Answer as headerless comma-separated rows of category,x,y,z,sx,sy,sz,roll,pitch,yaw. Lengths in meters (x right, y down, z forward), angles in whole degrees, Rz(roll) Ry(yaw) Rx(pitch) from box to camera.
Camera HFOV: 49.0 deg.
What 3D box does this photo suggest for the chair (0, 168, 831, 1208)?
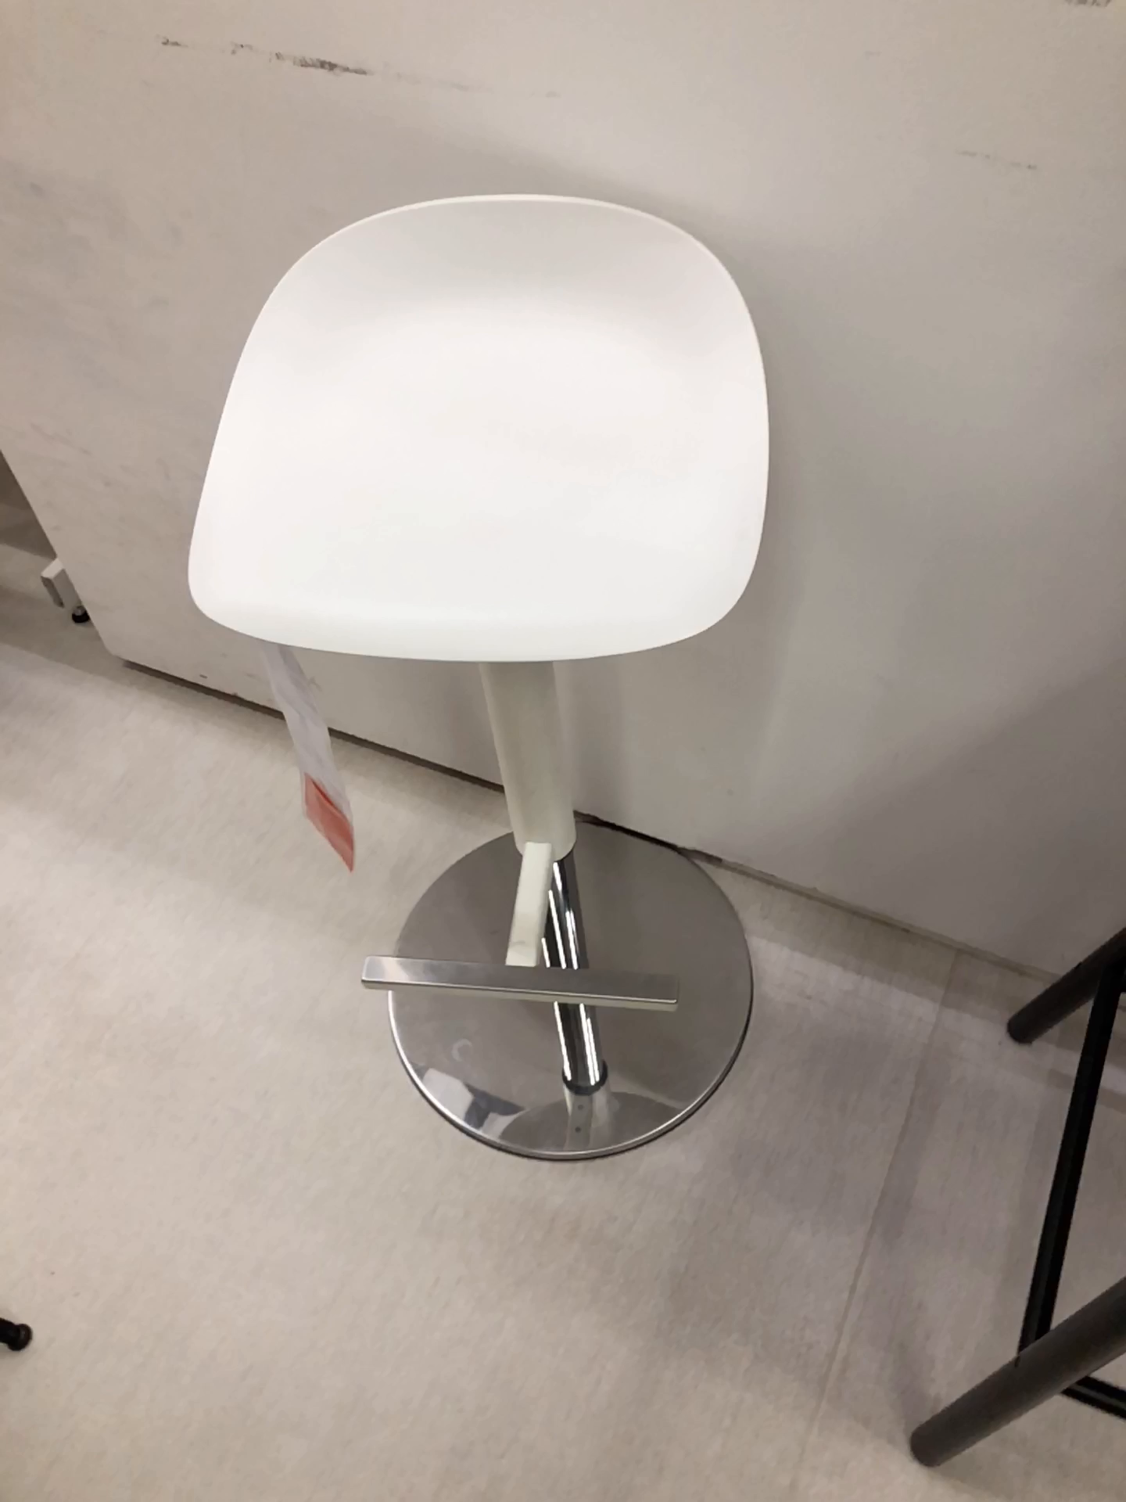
chair,-0.032,-0.005,1.069,0.440,0.746,0.513,3,53,8
